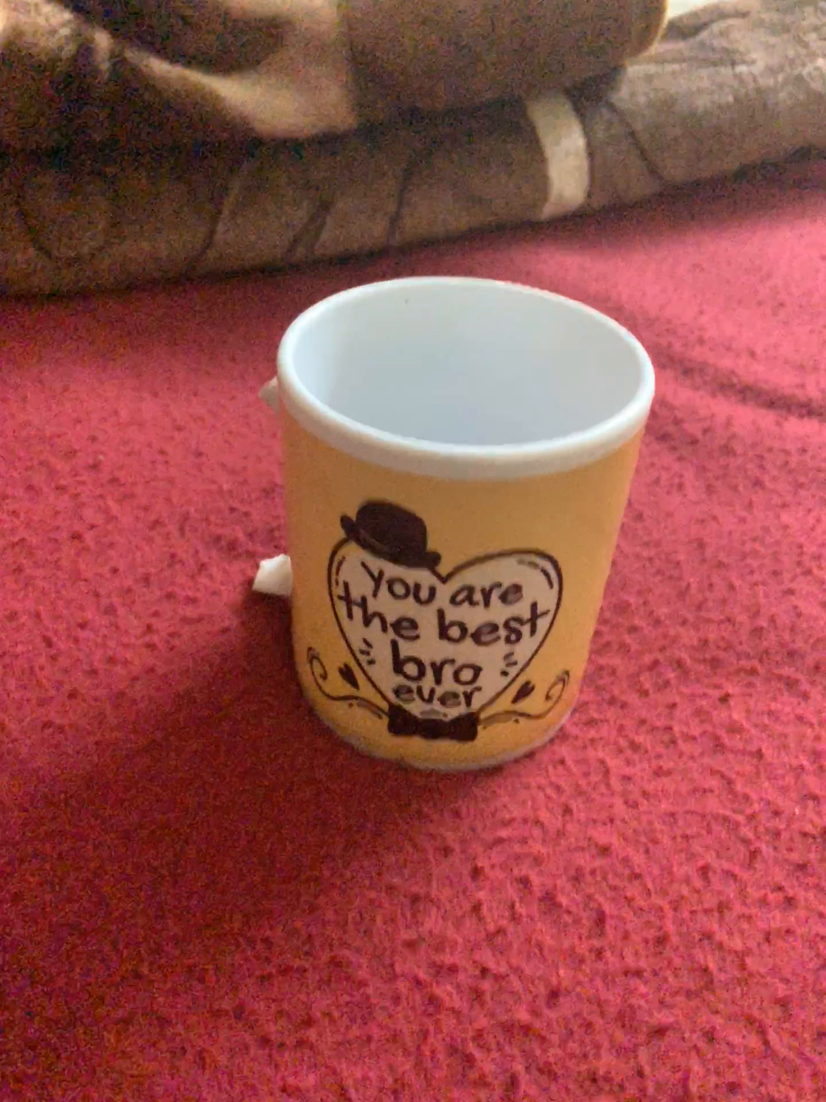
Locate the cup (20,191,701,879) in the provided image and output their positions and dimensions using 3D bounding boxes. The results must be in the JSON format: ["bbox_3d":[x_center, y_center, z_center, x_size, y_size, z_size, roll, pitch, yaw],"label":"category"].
[{"bbox_3d":[-0.010,-0.007,0.210,0.110,0.109,0.080,23,47,21],"label":"cup"}]

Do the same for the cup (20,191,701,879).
[{"bbox_3d":[-0.010,-0.007,0.210,0.110,0.109,0.080,23,47,21],"label":"cup"}]
